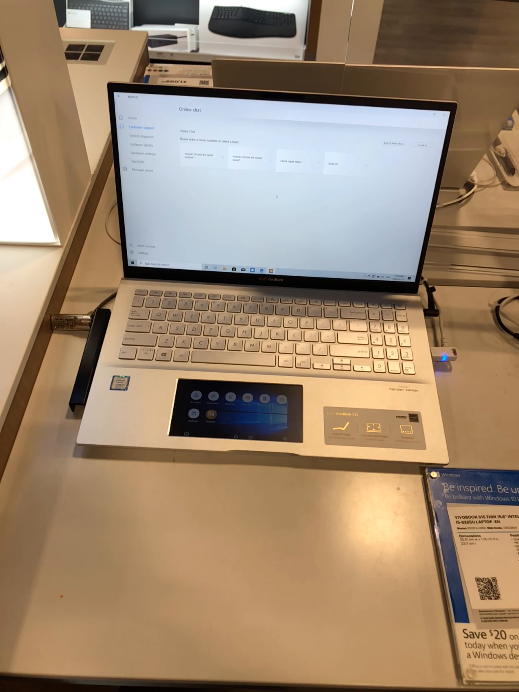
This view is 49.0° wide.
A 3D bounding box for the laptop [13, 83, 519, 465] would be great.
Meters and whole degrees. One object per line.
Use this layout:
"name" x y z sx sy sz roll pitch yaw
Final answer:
"laptop" 0.011 -0.074 0.527 0.330 0.189 0.285 3 50 1
